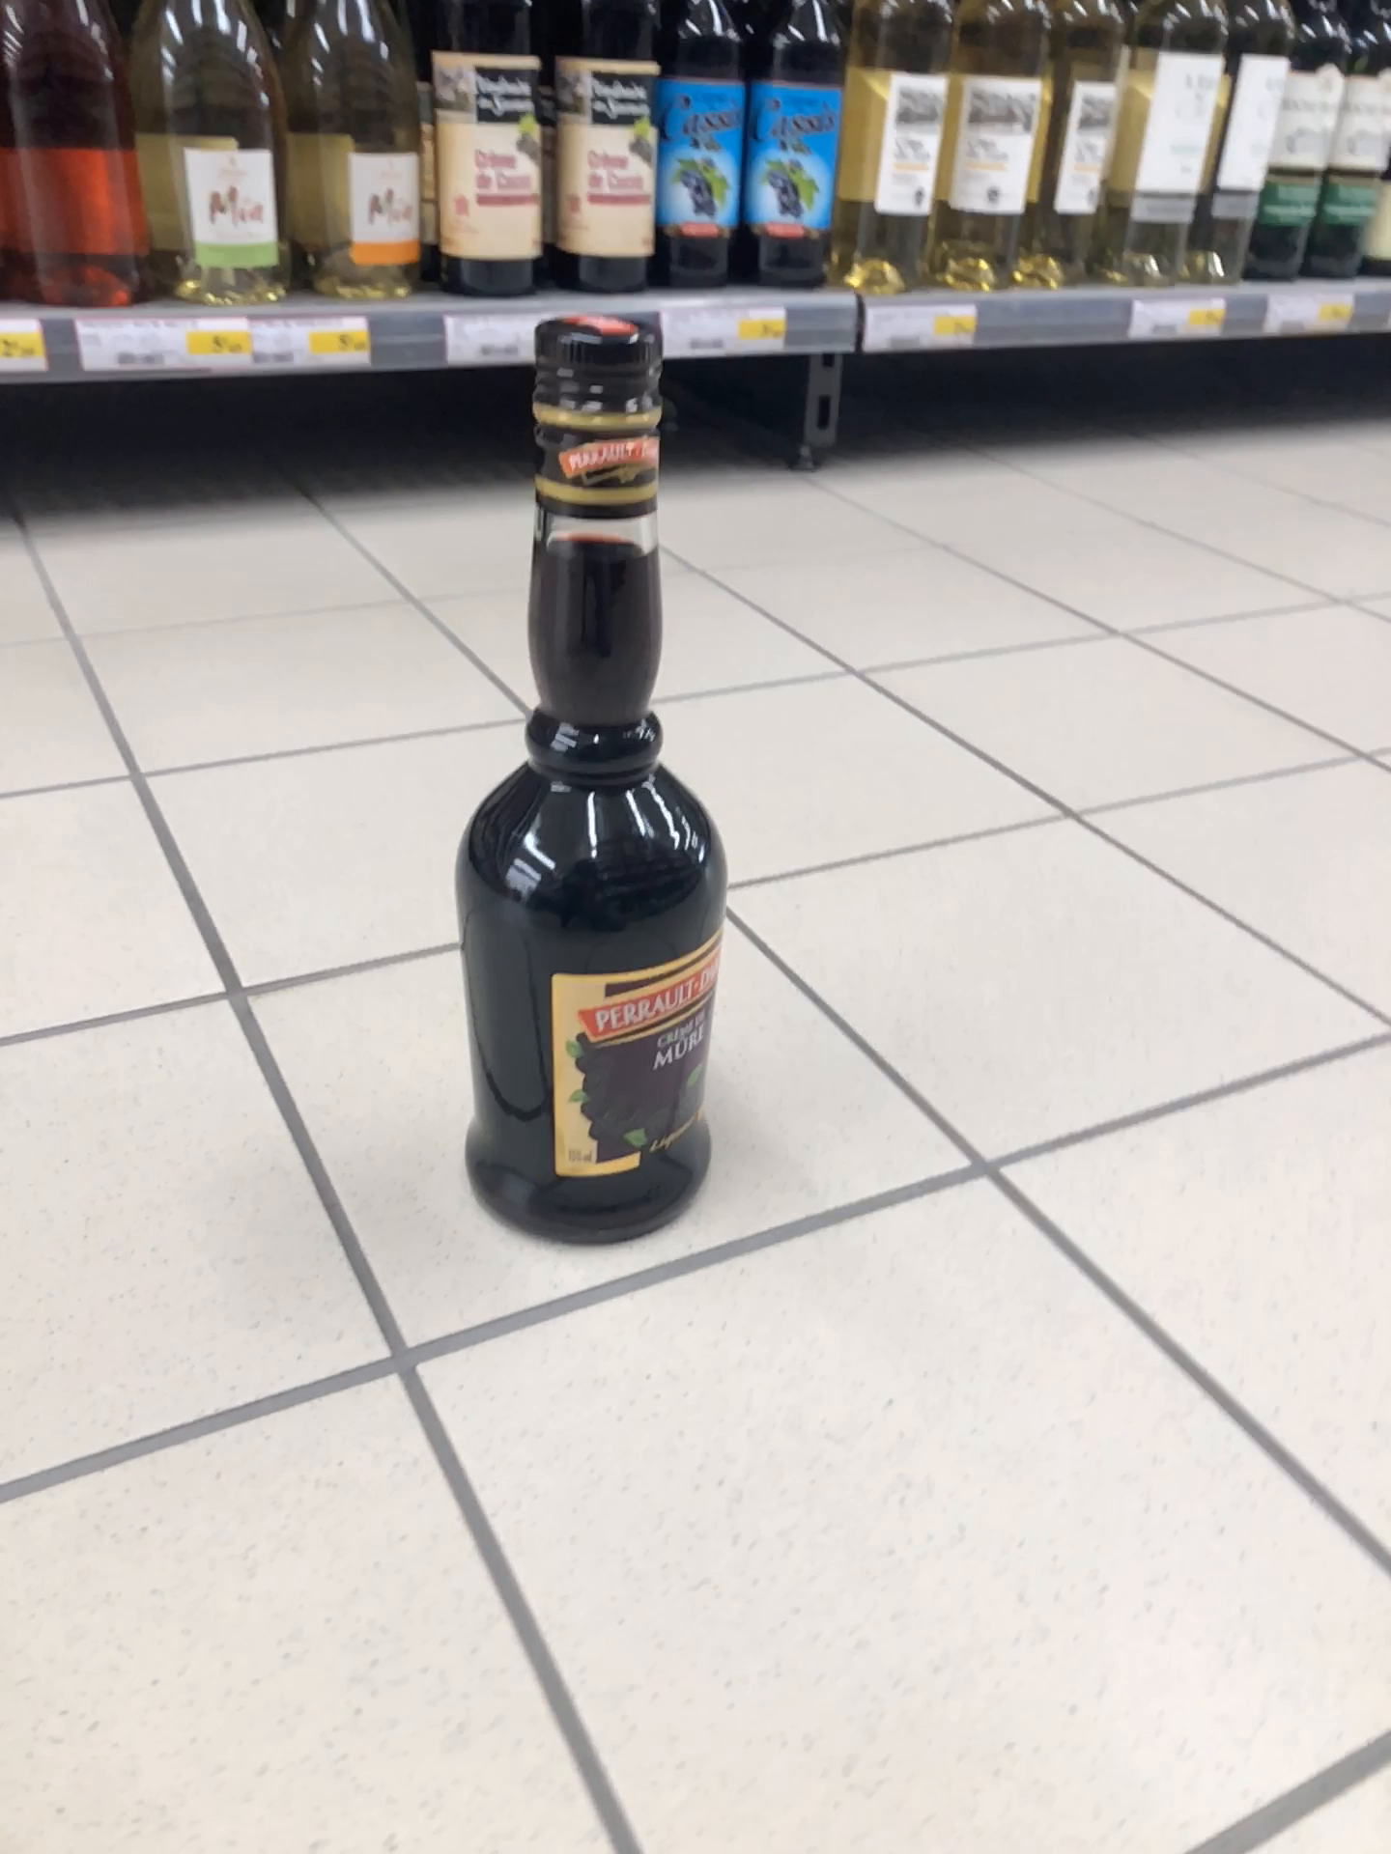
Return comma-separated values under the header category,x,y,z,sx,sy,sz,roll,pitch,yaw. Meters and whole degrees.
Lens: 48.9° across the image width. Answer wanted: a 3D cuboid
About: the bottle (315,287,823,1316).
category,x,y,z,sx,sy,sz,roll,pitch,yaw
bottle,-0.036,-0.032,0.426,0.090,0.258,0.080,-24,39,-40
